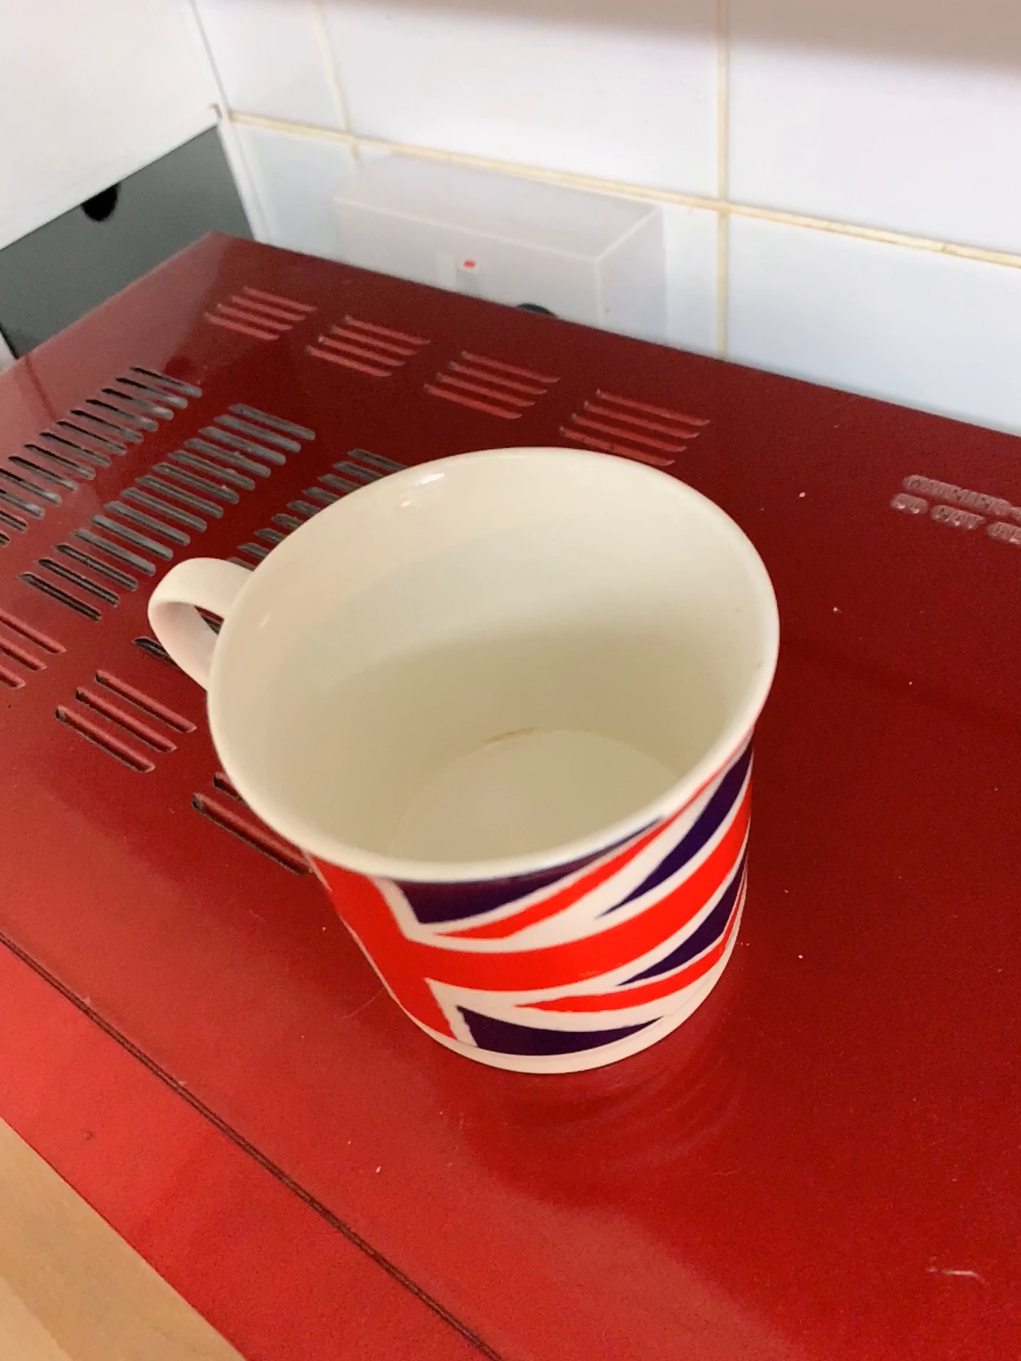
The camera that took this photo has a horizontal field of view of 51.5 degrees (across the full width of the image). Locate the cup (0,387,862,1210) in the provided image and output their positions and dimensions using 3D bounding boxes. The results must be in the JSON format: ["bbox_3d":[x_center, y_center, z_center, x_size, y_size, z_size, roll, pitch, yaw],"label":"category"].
[{"bbox_3d":[-0.014,0.015,0.188,0.120,0.079,0.080,18,55,24],"label":"cup"}]
